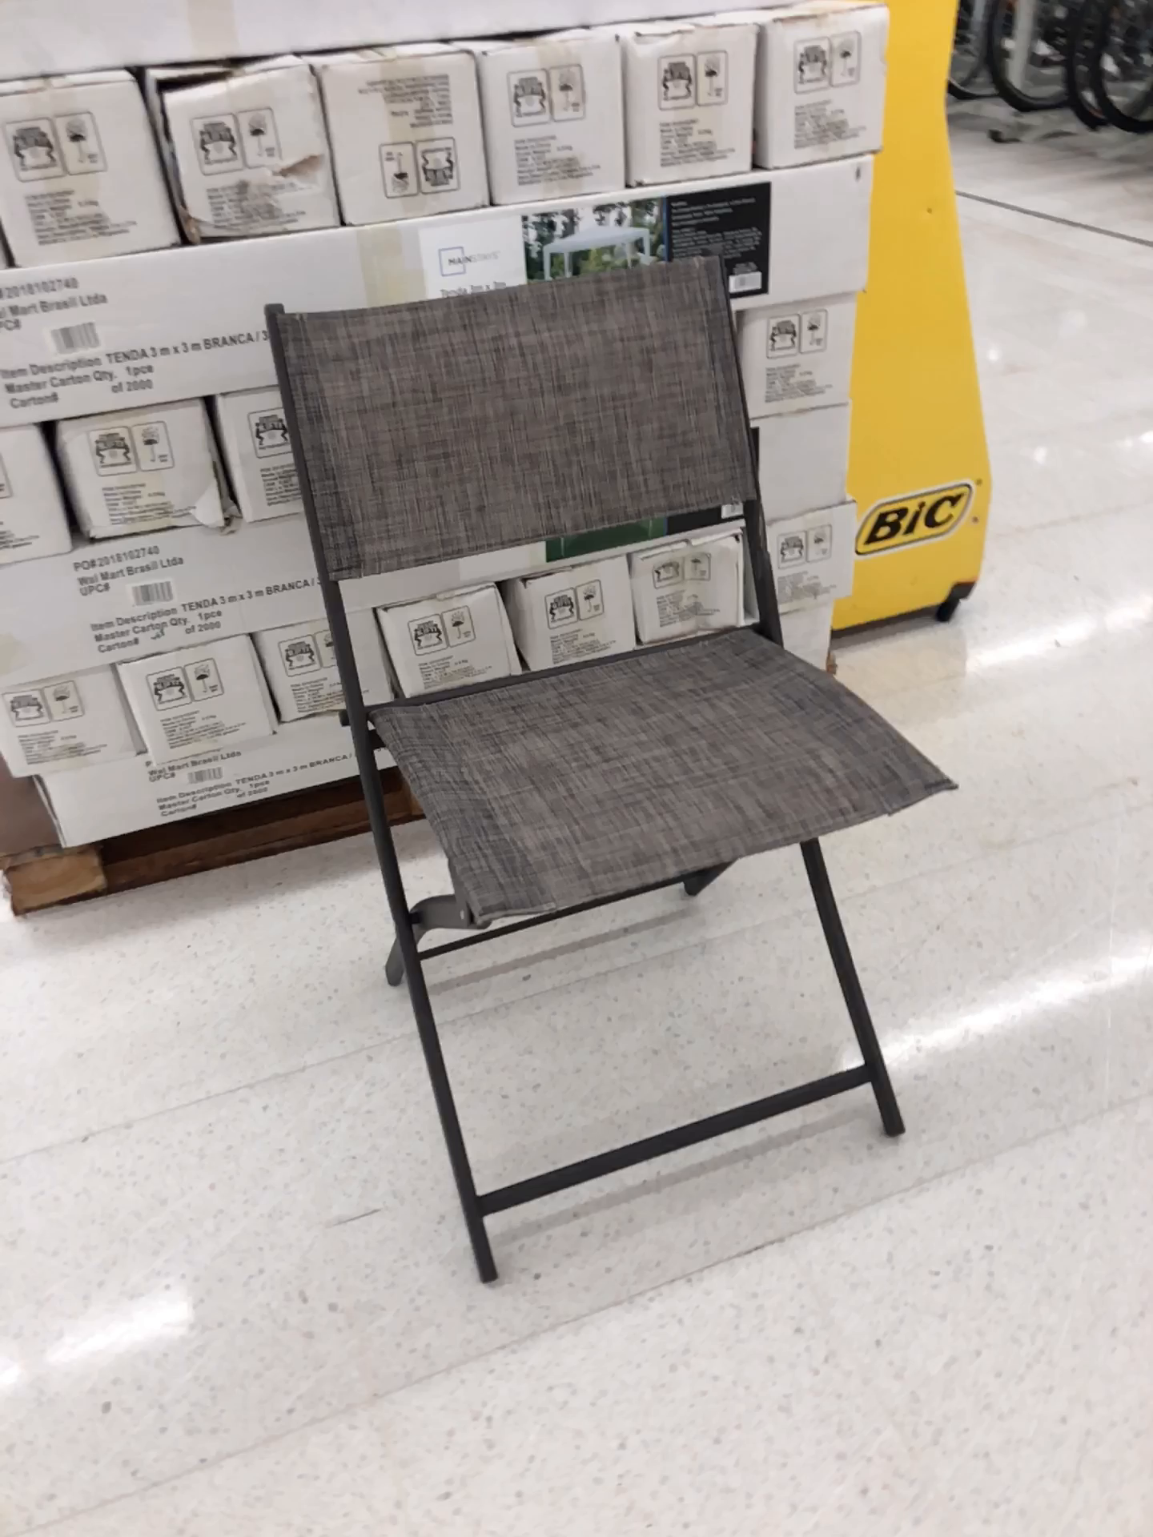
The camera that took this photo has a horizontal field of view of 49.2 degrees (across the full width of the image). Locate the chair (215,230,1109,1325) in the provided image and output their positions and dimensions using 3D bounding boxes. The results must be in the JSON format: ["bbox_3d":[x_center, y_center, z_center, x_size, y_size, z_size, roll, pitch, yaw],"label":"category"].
[{"bbox_3d":[0.035,-0.014,1.155,0.511,0.754,0.503,-14,36,-15],"label":"chair"}]
